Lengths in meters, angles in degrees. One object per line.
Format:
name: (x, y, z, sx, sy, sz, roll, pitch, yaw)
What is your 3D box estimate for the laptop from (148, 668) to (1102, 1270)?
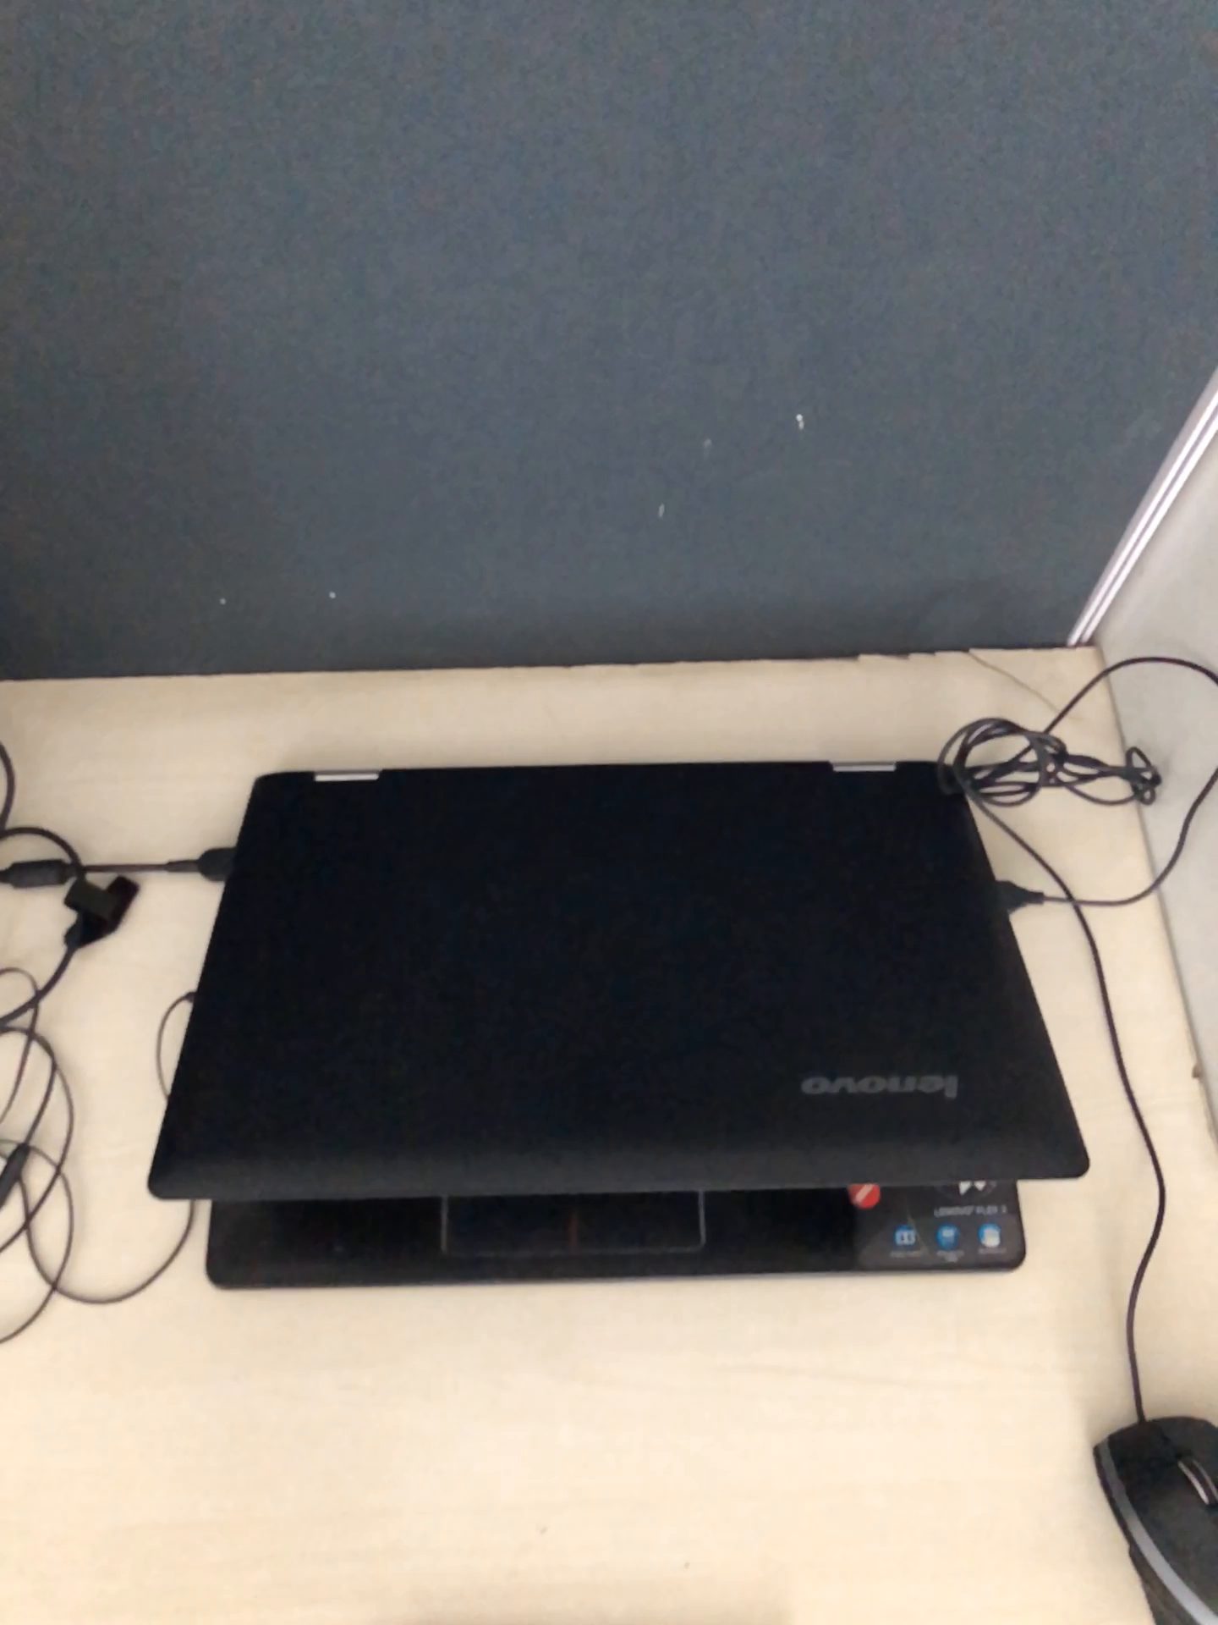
laptop: (0.003, 0.060, 0.547, 0.326, 0.083, 0.220, -1, 63, -1)
